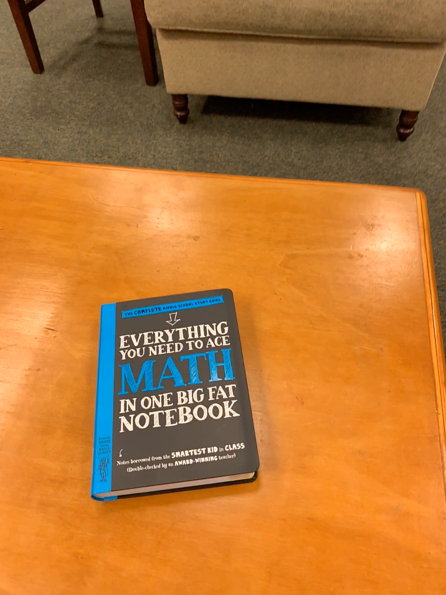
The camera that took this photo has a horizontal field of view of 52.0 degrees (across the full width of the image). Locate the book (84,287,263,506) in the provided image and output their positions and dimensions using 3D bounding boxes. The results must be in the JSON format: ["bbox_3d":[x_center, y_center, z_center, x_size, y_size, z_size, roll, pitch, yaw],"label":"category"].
[{"bbox_3d":[-0.054,0.094,0.485,0.160,0.040,0.211,-7,55,-1],"label":"book"}]
